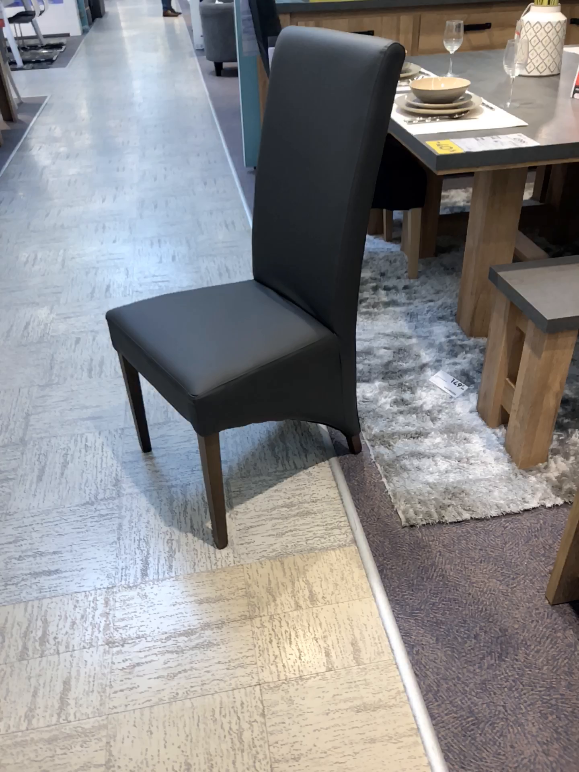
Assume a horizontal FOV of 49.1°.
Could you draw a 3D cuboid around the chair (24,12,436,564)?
[{"bbox_3d":[-0.108,-0.236,1.452,0.572,1.014,0.521,-23,40,-28],"label":"chair"}]
